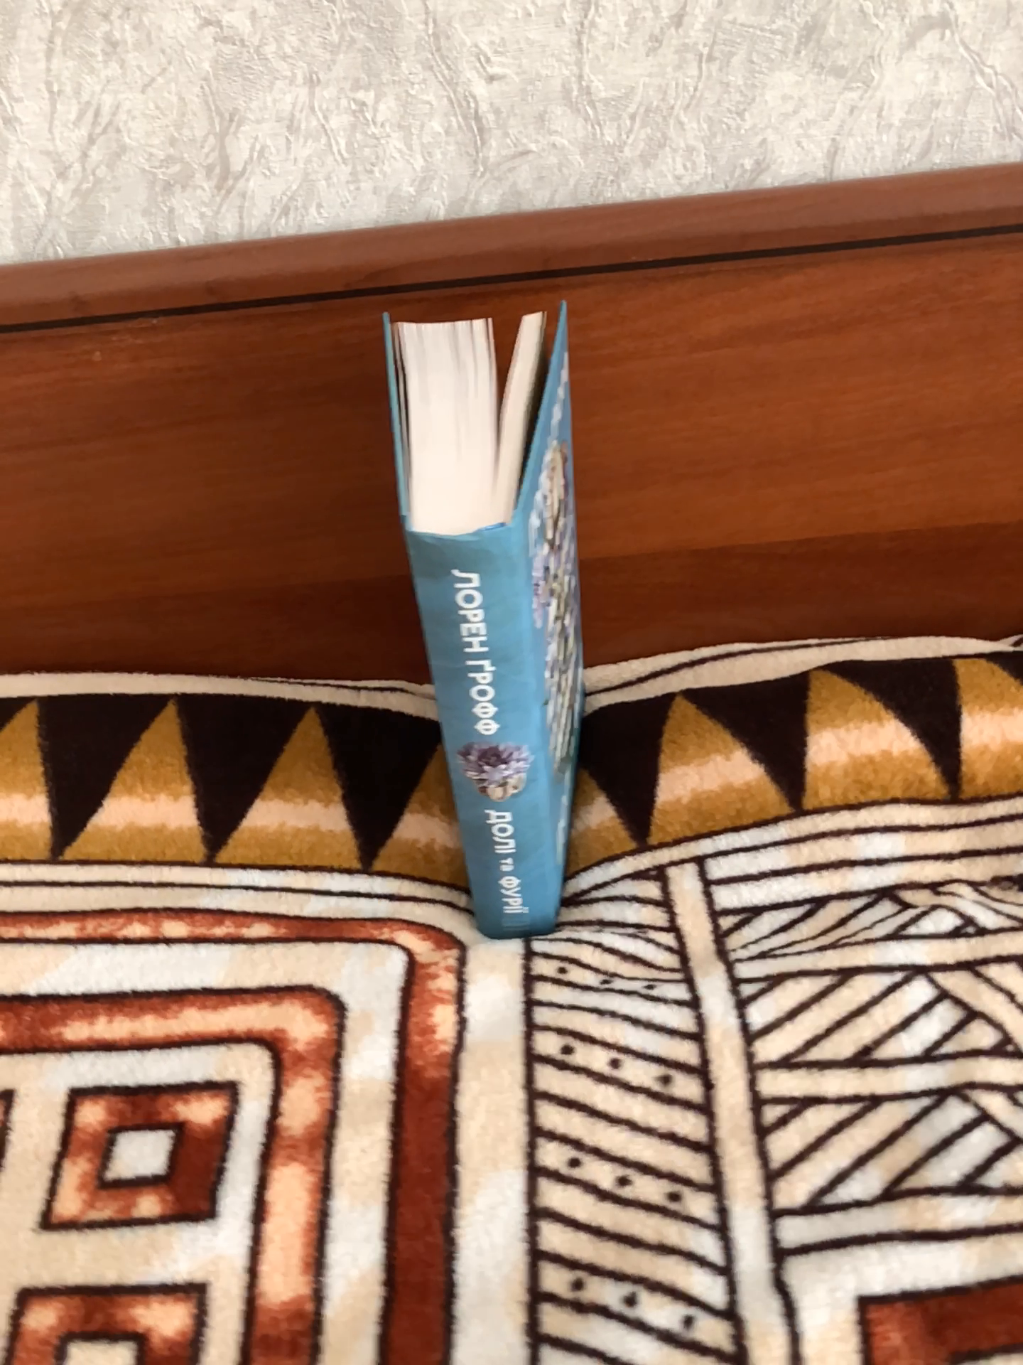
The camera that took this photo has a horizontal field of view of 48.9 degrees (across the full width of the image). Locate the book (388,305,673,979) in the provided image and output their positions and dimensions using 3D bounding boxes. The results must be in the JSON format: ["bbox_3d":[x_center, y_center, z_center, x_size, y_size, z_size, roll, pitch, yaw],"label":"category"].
[{"bbox_3d":[0.011,-0.013,0.433,0.078,0.199,0.161,-3,43,3],"label":"book"}]
